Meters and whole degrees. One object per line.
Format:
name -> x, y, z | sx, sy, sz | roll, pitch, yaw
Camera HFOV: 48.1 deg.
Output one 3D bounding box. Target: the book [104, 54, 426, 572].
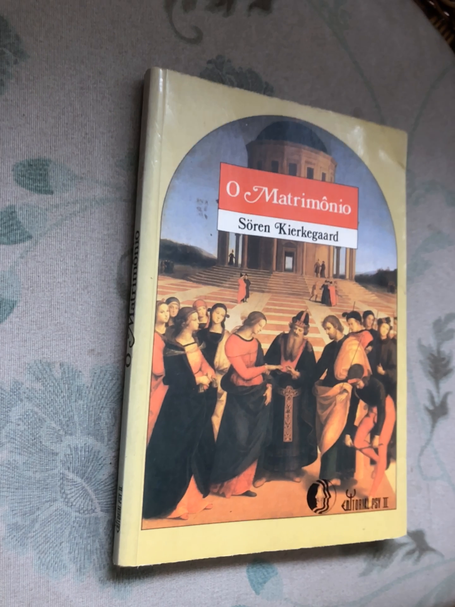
book -> 0.025, 0.006, 0.231 | 0.140, 0.020, 0.200 | 6, 84, -21
